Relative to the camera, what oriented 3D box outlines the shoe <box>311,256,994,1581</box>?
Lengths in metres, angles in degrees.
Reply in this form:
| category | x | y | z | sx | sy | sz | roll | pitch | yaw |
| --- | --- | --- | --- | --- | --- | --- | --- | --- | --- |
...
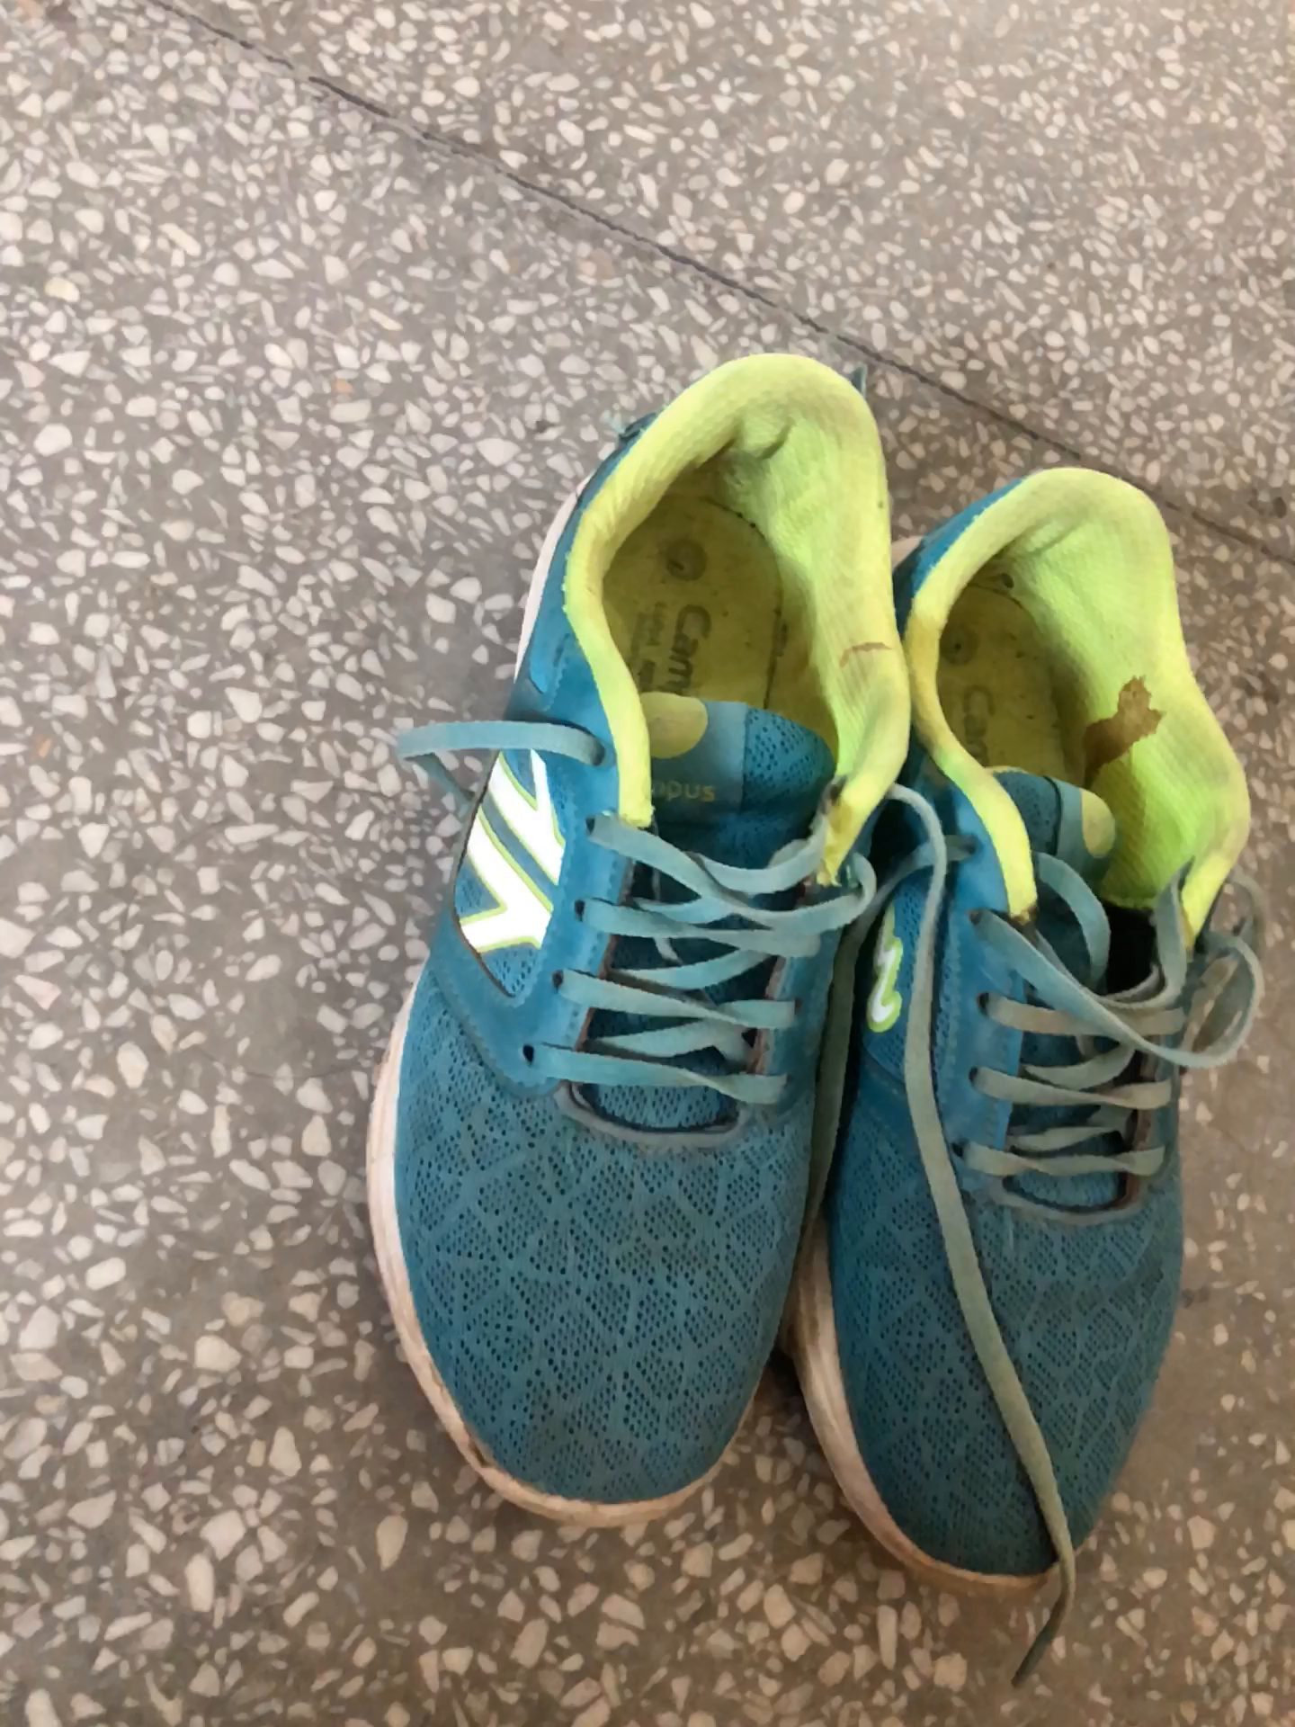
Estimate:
| category | x | y | z | sx | sy | sz | roll | pitch | yaw |
| --- | --- | --- | --- | --- | --- | --- | --- | --- | --- |
| shoe | 0.004 | 0.008 | 0.307 | 0.090 | 0.080 | 0.240 | 14 | 71 | -13 |

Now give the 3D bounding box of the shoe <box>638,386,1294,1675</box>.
| category | x | y | z | sx | sy | sz | roll | pitch | yaw |
| --- | --- | --- | --- | --- | --- | --- | --- | --- | --- |
| shoe | 0.076 | 0.034 | 0.335 | 0.100 | 0.080 | 0.250 | 12 | 77 | -14 |
